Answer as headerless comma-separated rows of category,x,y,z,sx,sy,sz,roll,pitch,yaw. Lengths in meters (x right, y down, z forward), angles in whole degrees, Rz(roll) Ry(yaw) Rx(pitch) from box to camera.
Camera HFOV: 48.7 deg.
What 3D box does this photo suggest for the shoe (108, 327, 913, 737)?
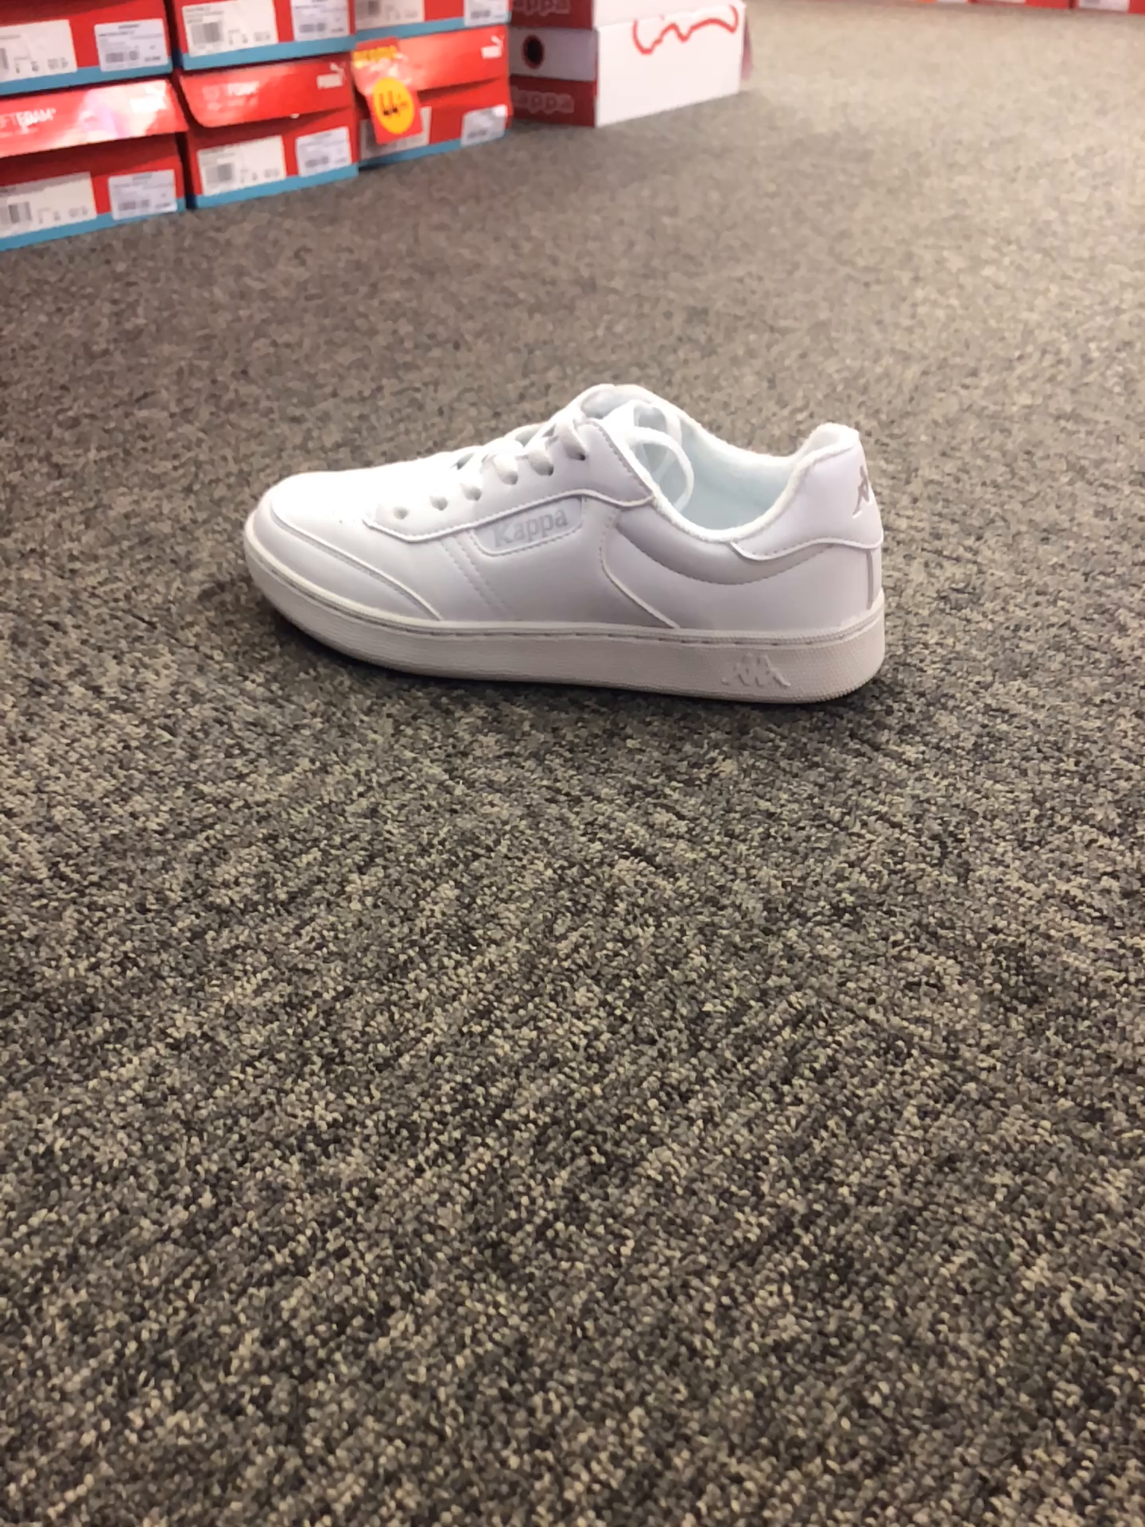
shoe,-0.019,-0.093,0.463,0.260,0.089,0.101,9,37,16
